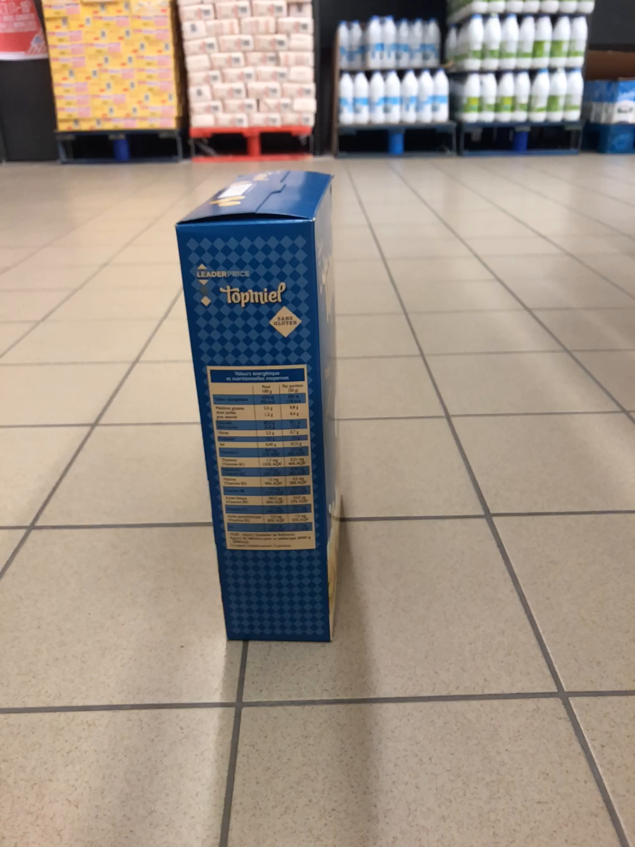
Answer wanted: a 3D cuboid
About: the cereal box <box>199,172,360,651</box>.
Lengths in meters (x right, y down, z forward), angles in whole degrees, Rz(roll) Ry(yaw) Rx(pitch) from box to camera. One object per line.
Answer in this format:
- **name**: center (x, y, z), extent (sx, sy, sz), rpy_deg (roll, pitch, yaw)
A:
- **cereal box**: center (-0.014, -0.020, 0.496), extent (0.080, 0.279, 0.201), rpy_deg (0, 25, 2)
